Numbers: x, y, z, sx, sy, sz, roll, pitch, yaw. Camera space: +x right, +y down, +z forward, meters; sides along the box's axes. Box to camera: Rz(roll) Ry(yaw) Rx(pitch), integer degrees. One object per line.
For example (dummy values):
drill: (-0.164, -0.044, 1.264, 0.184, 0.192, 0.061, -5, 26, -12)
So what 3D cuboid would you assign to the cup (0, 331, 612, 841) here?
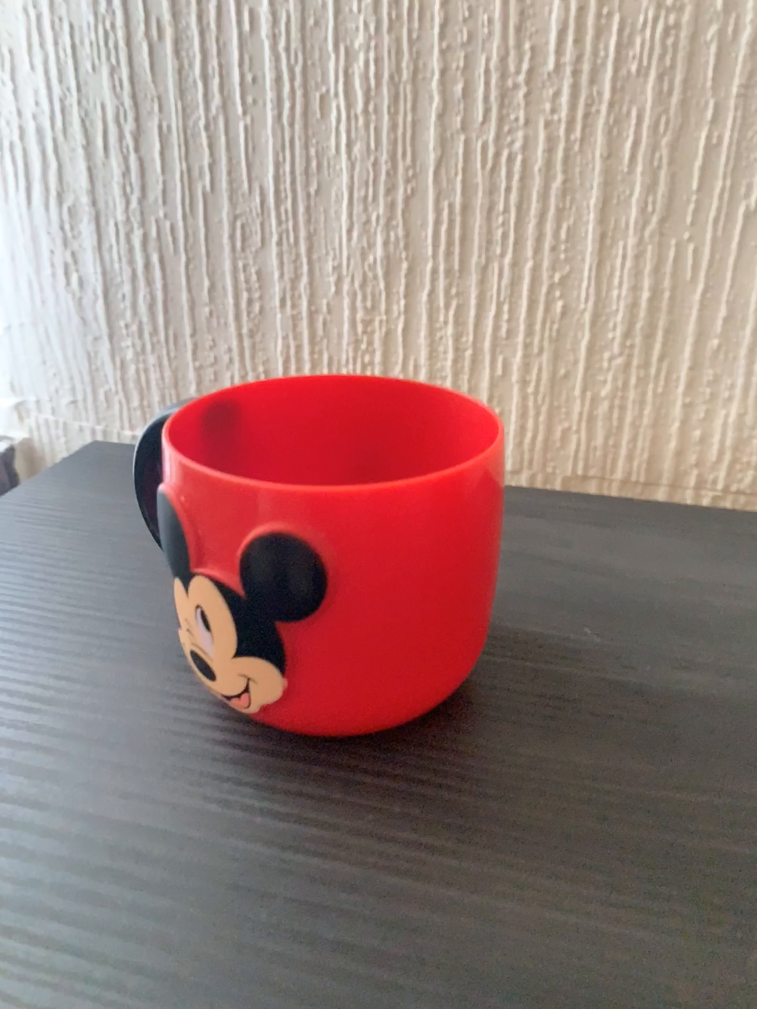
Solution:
cup: (-0.018, 0.005, 0.215, 0.130, 0.069, 0.101, 14, 28, 26)
